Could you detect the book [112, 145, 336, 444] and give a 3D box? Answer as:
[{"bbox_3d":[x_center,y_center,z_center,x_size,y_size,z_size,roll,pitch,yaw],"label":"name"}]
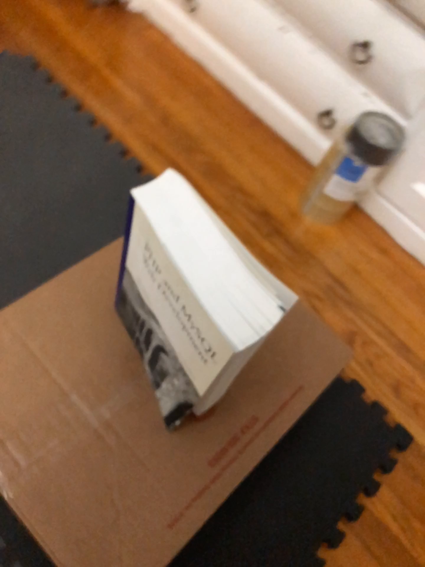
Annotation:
[{"bbox_3d":[-0.017,0.029,0.506,0.090,0.259,0.200,-23,68,-25],"label":"book"}]
